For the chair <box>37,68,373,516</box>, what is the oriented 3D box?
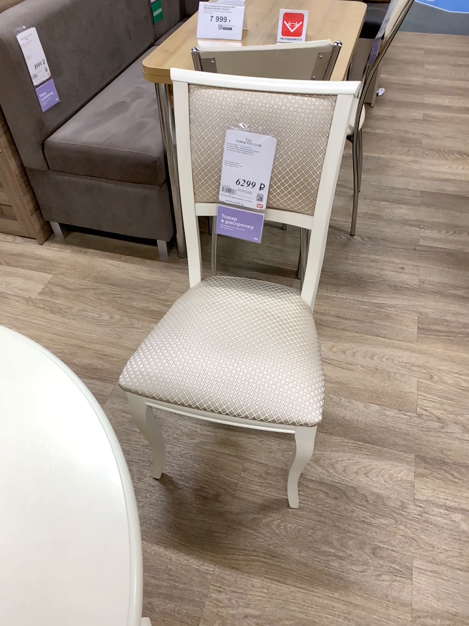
[{"bbox_3d":[0.004,0.009,1.155,0.460,0.925,0.512,9,47,9],"label":"chair"}]
